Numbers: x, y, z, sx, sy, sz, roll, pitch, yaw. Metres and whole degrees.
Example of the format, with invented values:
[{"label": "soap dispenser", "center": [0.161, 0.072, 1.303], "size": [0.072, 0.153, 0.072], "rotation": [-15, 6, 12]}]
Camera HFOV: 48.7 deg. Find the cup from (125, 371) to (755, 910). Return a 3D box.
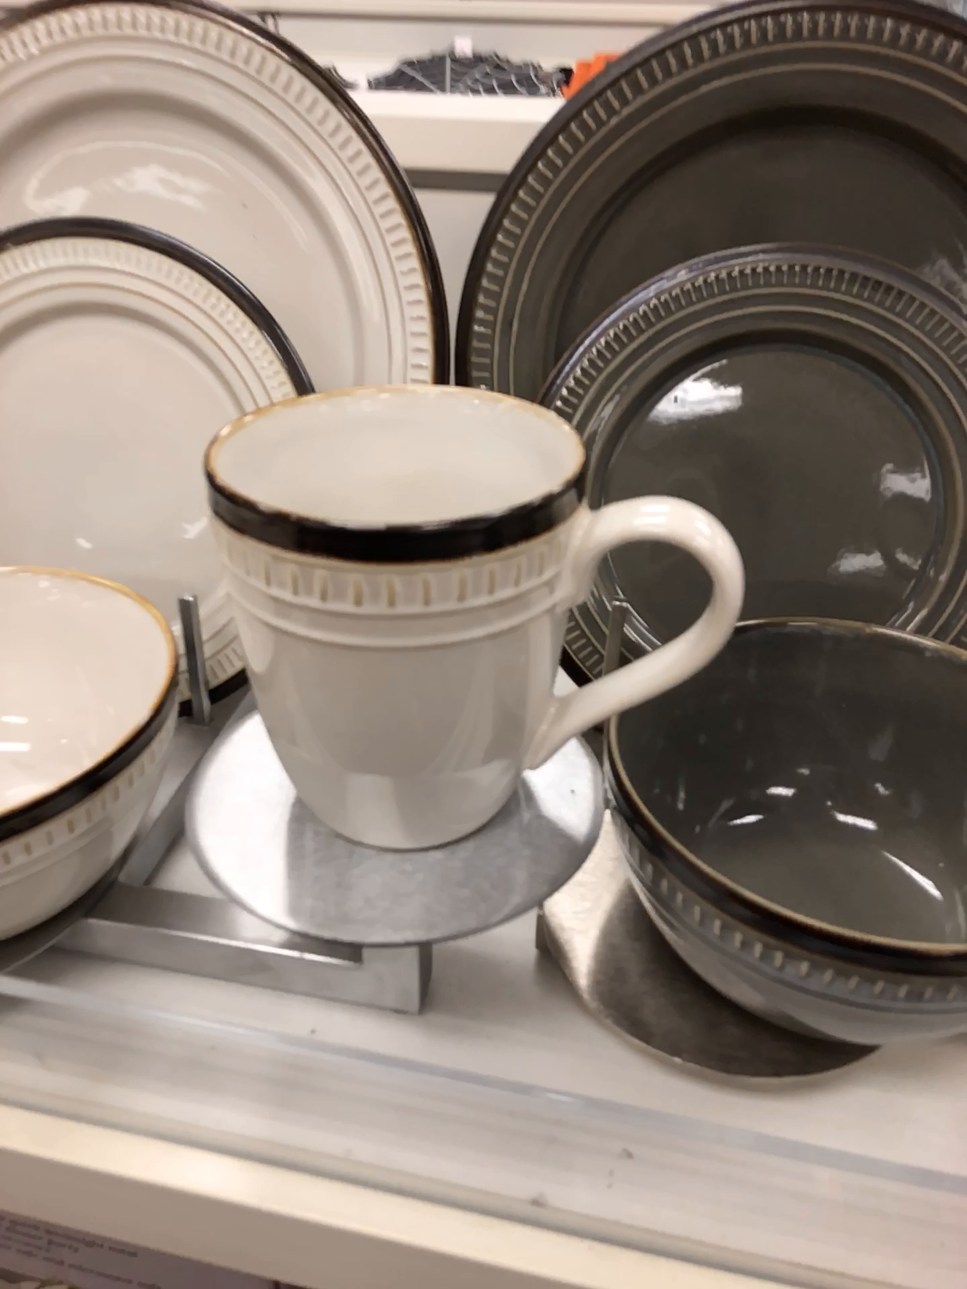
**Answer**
[{"label": "cup", "center": [-0.005, -0.006, 0.279], "size": [0.128, 0.096, 0.092], "rotation": [5, 32, 6]}]
